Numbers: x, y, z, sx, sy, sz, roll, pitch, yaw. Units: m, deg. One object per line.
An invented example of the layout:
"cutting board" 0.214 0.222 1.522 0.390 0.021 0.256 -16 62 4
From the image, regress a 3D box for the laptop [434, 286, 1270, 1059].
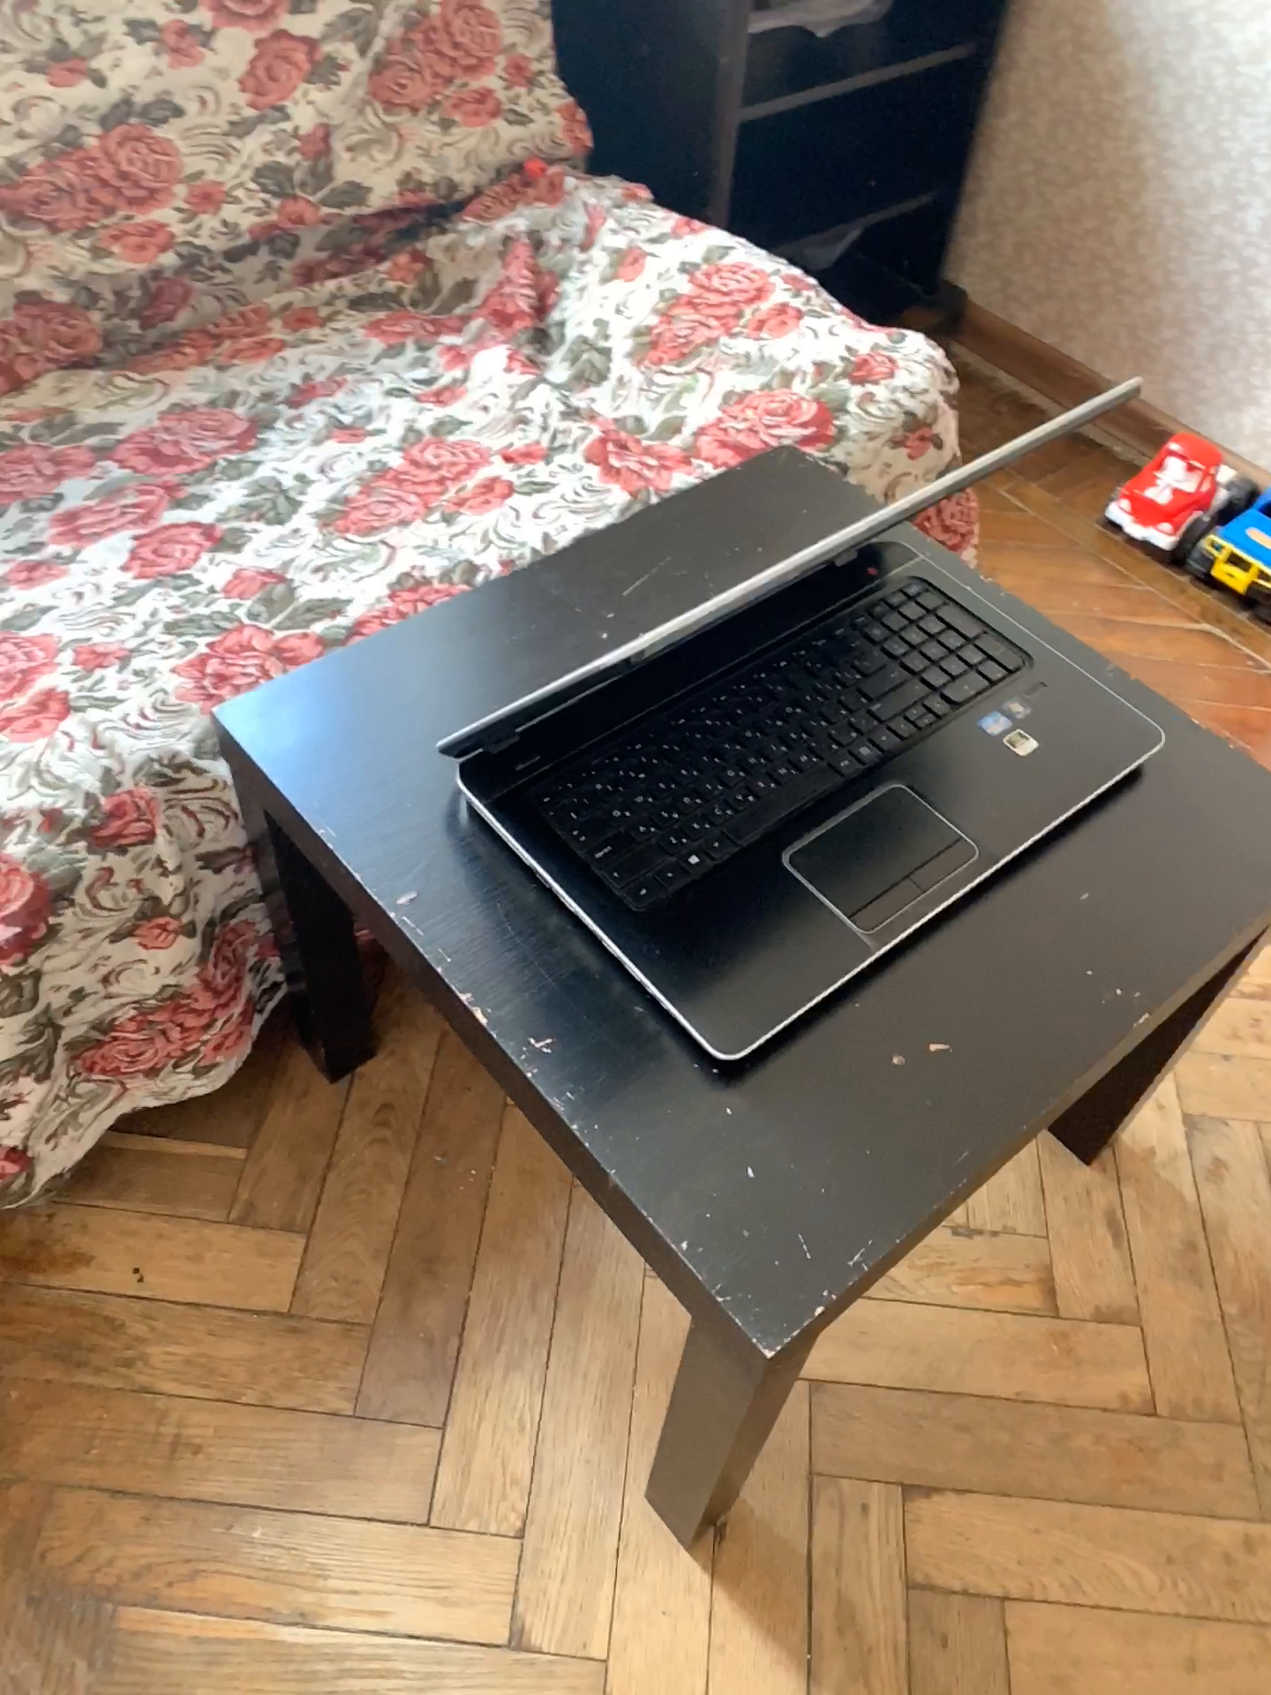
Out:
"laptop" 0.126 -0.126 0.773 0.405 0.201 0.257 -32 60 -27
